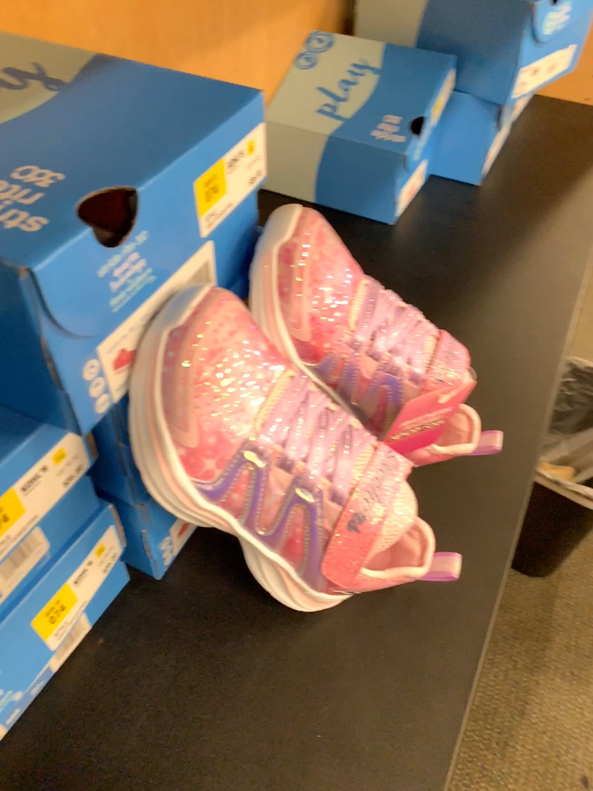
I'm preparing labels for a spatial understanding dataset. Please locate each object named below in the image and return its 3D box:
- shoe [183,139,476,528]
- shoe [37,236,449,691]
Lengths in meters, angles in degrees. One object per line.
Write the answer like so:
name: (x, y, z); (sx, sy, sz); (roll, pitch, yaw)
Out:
shoe: (0.036, -0.021, 0.343); (0.080, 0.199, 0.090); (3, 51, 30)
shoe: (-0.001, 0.042, 0.284); (0.080, 0.209, 0.090); (6, 51, 33)
